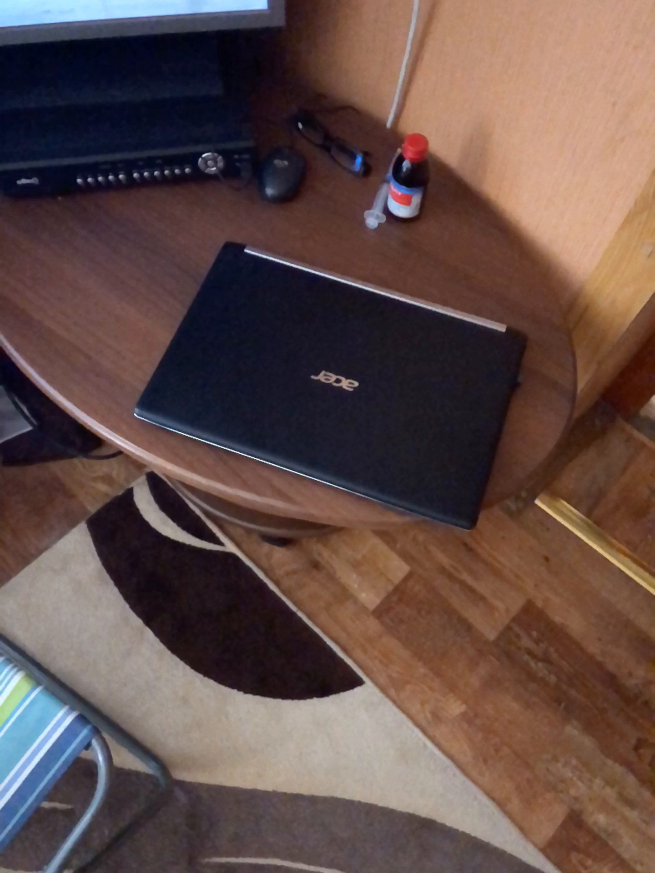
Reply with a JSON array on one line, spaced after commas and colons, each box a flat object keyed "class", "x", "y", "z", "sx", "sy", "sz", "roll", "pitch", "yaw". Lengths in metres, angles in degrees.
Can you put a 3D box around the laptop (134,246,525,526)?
[{"class": "laptop", "x": 0.011, "y": -0.068, "z": 0.784, "sx": 0.363, "sy": 0.004, "sz": 0.240, "roll": 18, "pitch": 64, "yaw": 6}]
